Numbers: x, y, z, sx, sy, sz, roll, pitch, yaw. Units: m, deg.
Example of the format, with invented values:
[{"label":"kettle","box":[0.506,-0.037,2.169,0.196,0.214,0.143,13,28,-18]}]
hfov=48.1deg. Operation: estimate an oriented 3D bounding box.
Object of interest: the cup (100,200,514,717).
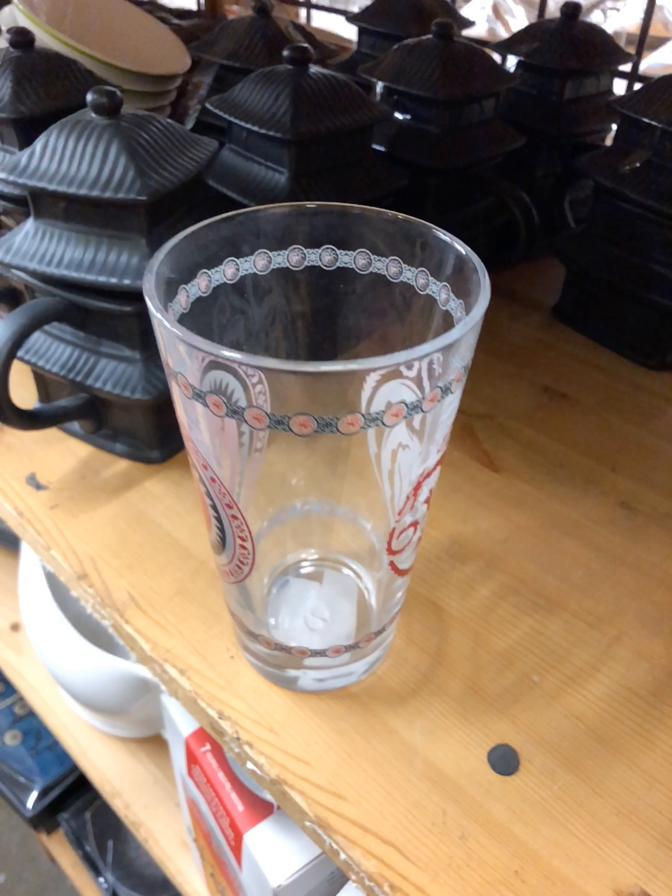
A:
[{"label":"cup","box":[-0.007,0.007,0.228,0.084,0.132,0.085,1,40,-1]}]
